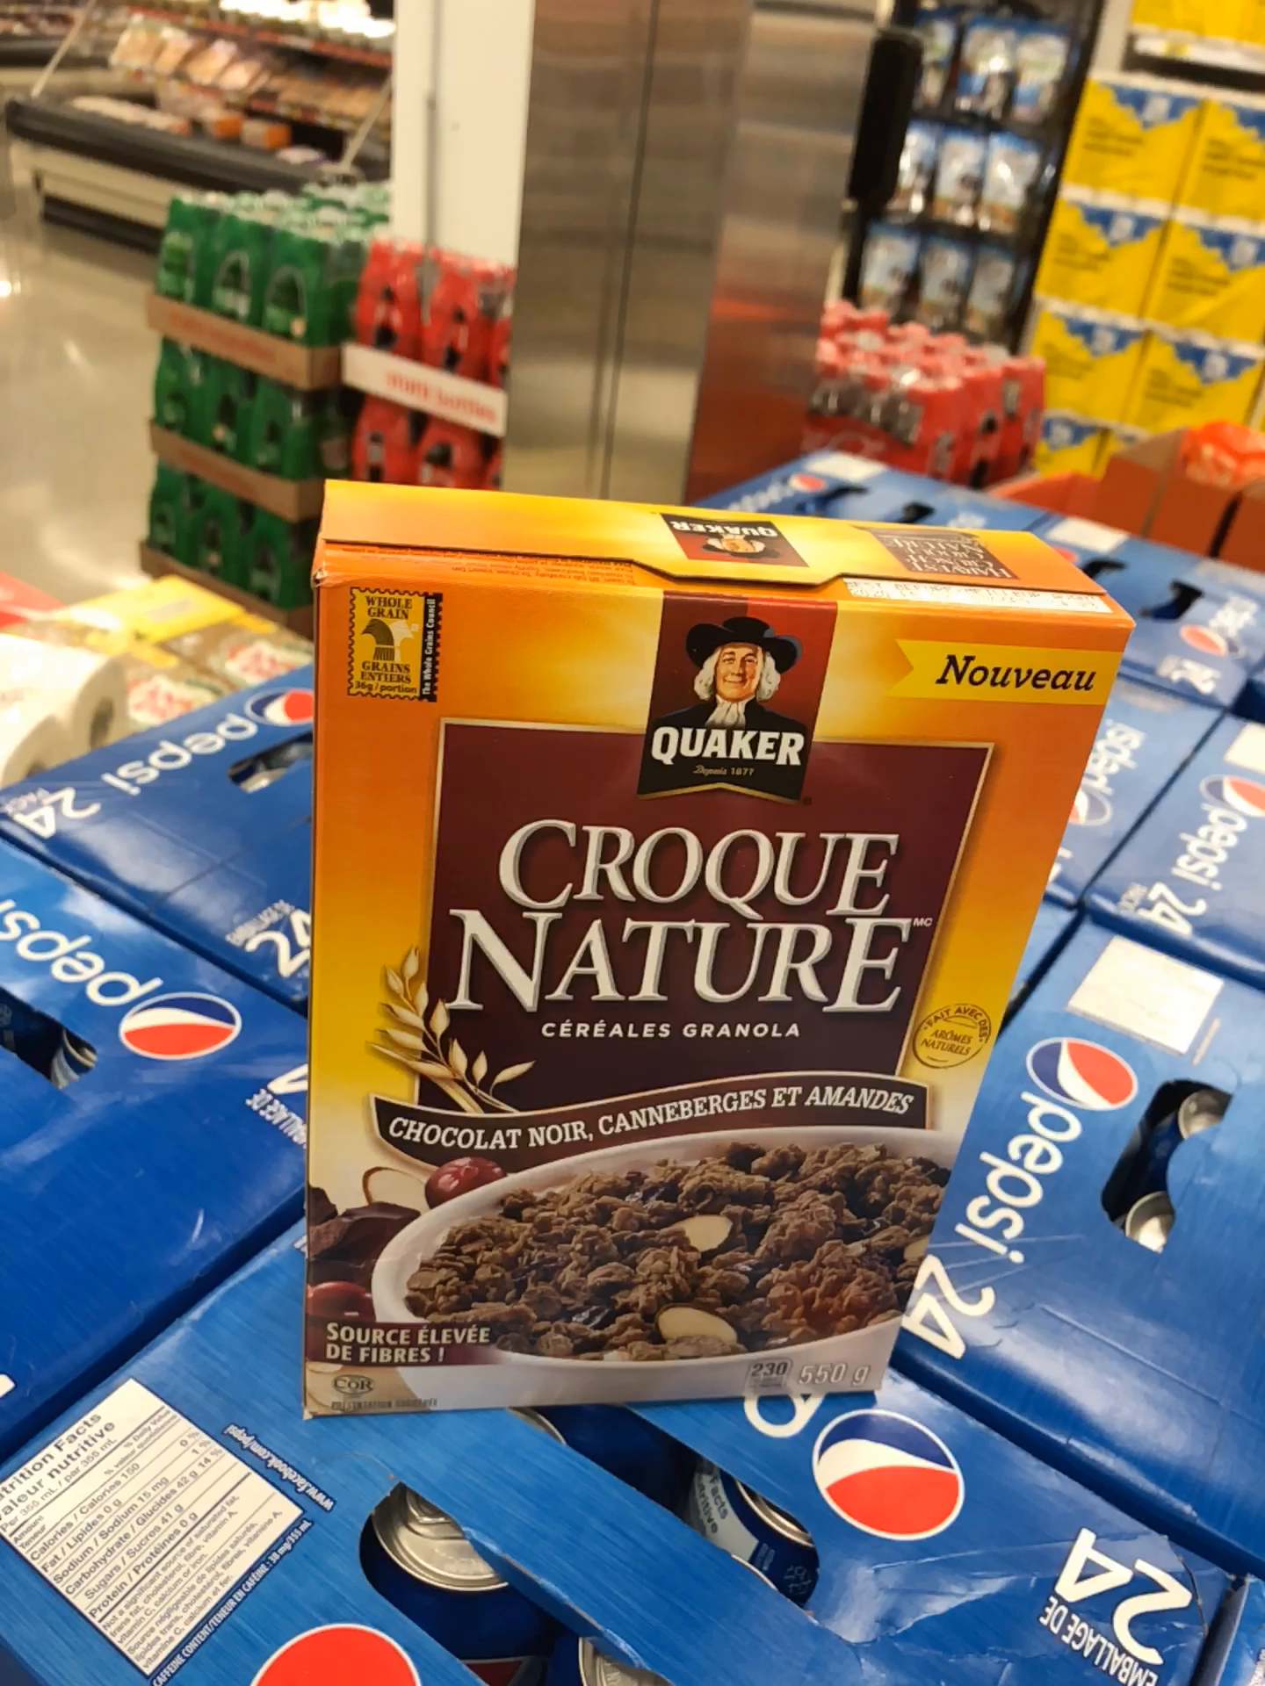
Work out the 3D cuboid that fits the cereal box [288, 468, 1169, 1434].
[{"bbox_3d":[0.004,0.039,0.335,0.160,0.229,0.060,2,32,-10],"label":"cereal box"}]
